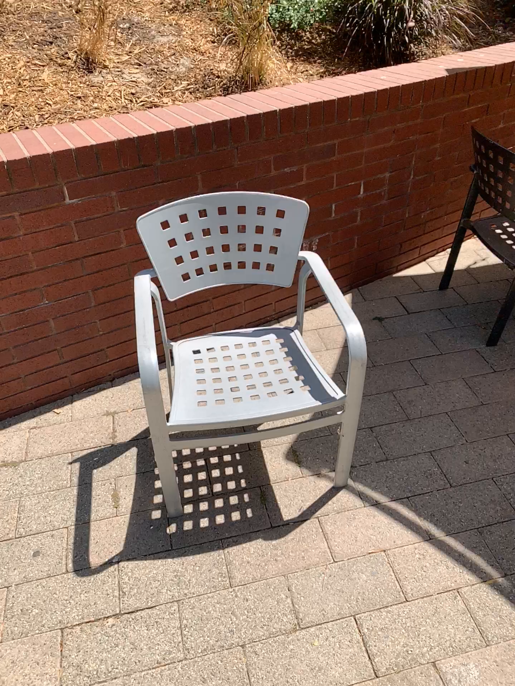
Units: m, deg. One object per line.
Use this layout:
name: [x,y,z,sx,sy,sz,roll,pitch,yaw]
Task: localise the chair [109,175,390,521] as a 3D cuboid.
chair: [-0.050,0.007,1.461,0.559,0.718,0.492,-9,38,-10]
